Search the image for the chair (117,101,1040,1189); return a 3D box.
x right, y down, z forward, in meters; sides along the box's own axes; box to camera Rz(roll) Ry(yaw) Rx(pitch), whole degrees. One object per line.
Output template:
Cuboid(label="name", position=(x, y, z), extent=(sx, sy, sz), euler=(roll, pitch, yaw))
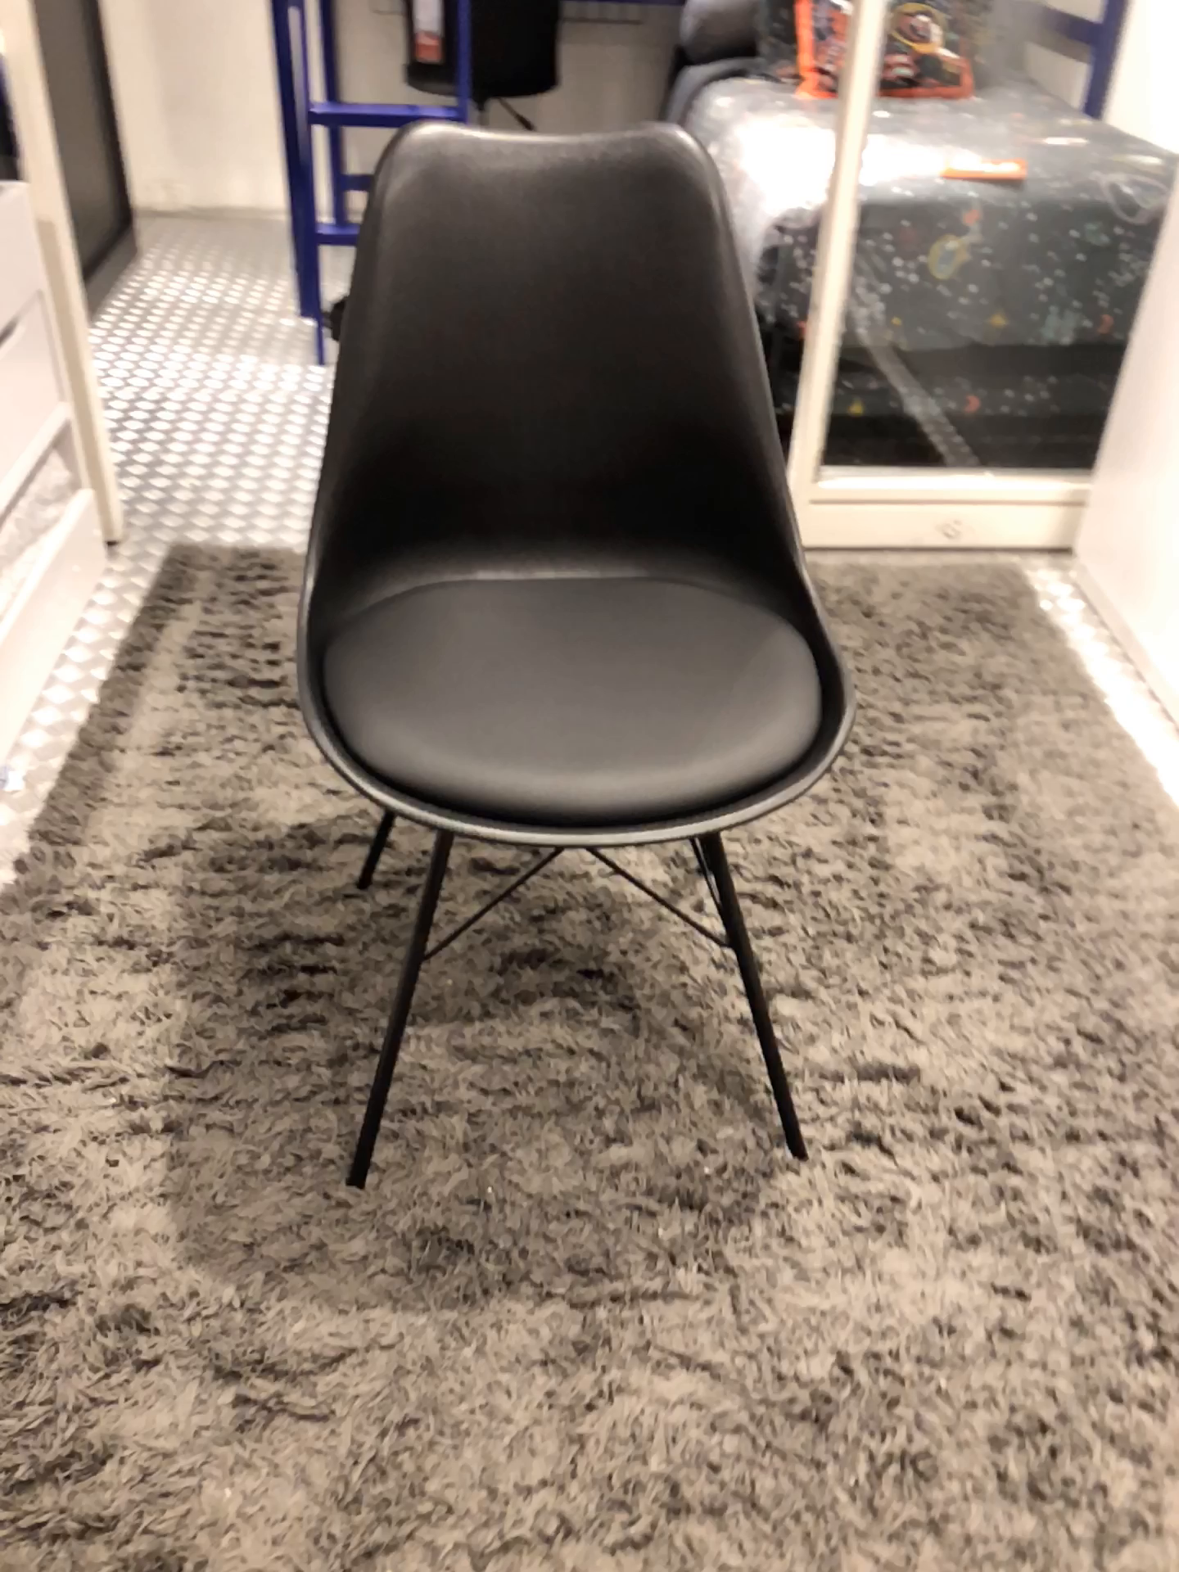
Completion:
Cuboid(label="chair", position=(-0.033, -0.119, 1.180), extent=(0.520, 0.803, 0.534), euler=(0, 36, -5))
